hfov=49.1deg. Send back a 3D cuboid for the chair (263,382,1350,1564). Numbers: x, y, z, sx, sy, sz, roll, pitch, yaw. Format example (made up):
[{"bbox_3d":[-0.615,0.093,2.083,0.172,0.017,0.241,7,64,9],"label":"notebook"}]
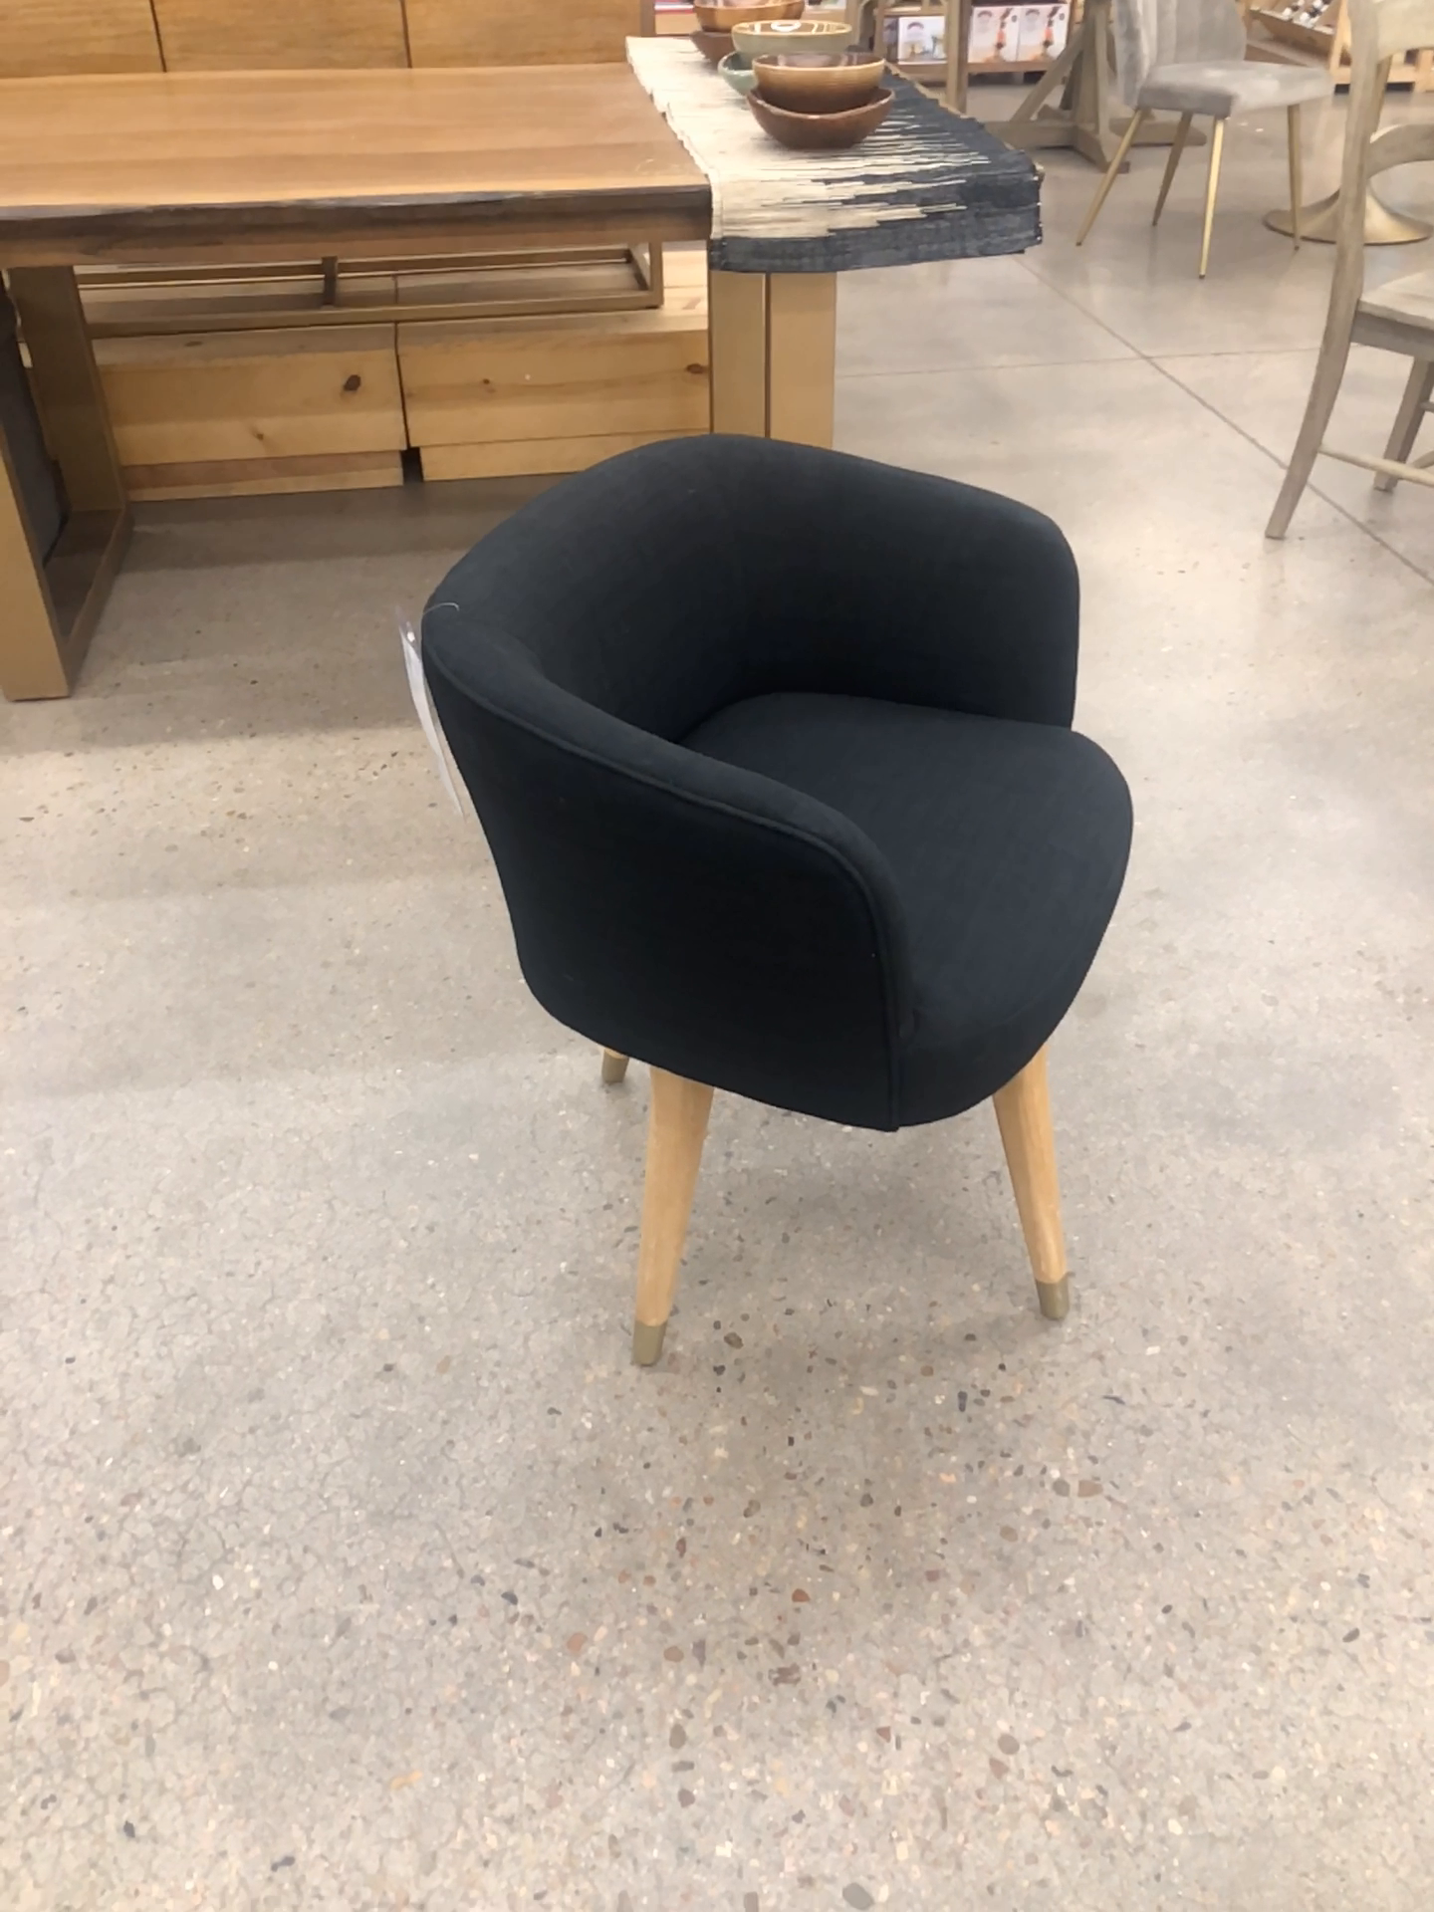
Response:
[{"bbox_3d":[0.101,-0.034,1.372,0.603,0.669,0.604,18,41,23],"label":"chair"}]
